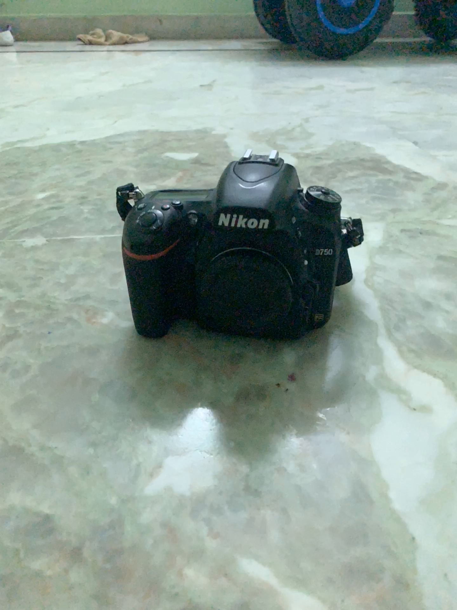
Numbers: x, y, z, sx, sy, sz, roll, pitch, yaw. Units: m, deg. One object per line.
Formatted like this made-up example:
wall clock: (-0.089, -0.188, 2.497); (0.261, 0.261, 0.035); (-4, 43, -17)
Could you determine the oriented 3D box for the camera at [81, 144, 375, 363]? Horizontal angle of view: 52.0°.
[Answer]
camera: (0.004, -0.037, 0.295); (0.150, 0.100, 0.080); (5, 34, 9)
